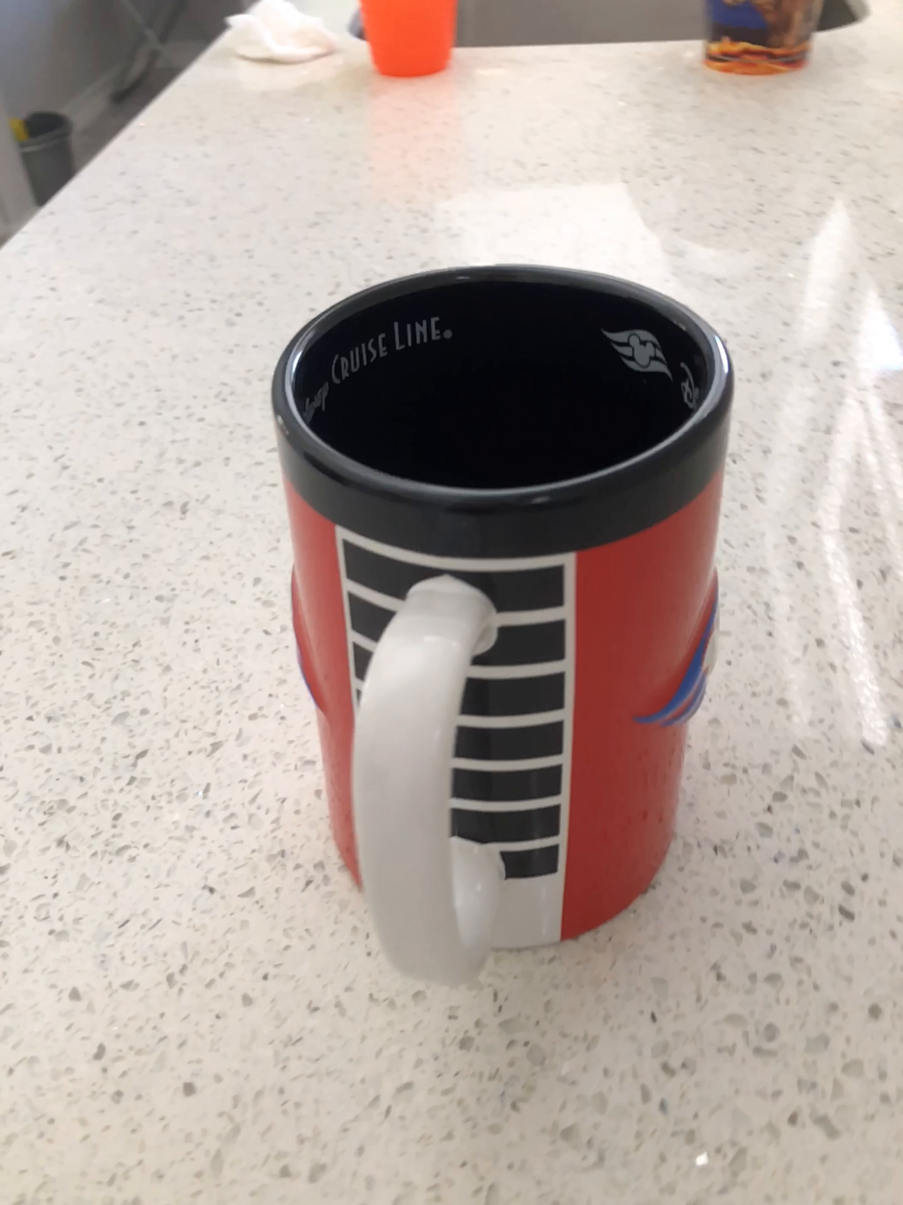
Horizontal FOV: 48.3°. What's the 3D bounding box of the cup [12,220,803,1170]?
[{"bbox_3d":[0.011,0.008,0.193,0.090,0.110,0.130,7,43,14],"label":"cup"}]
